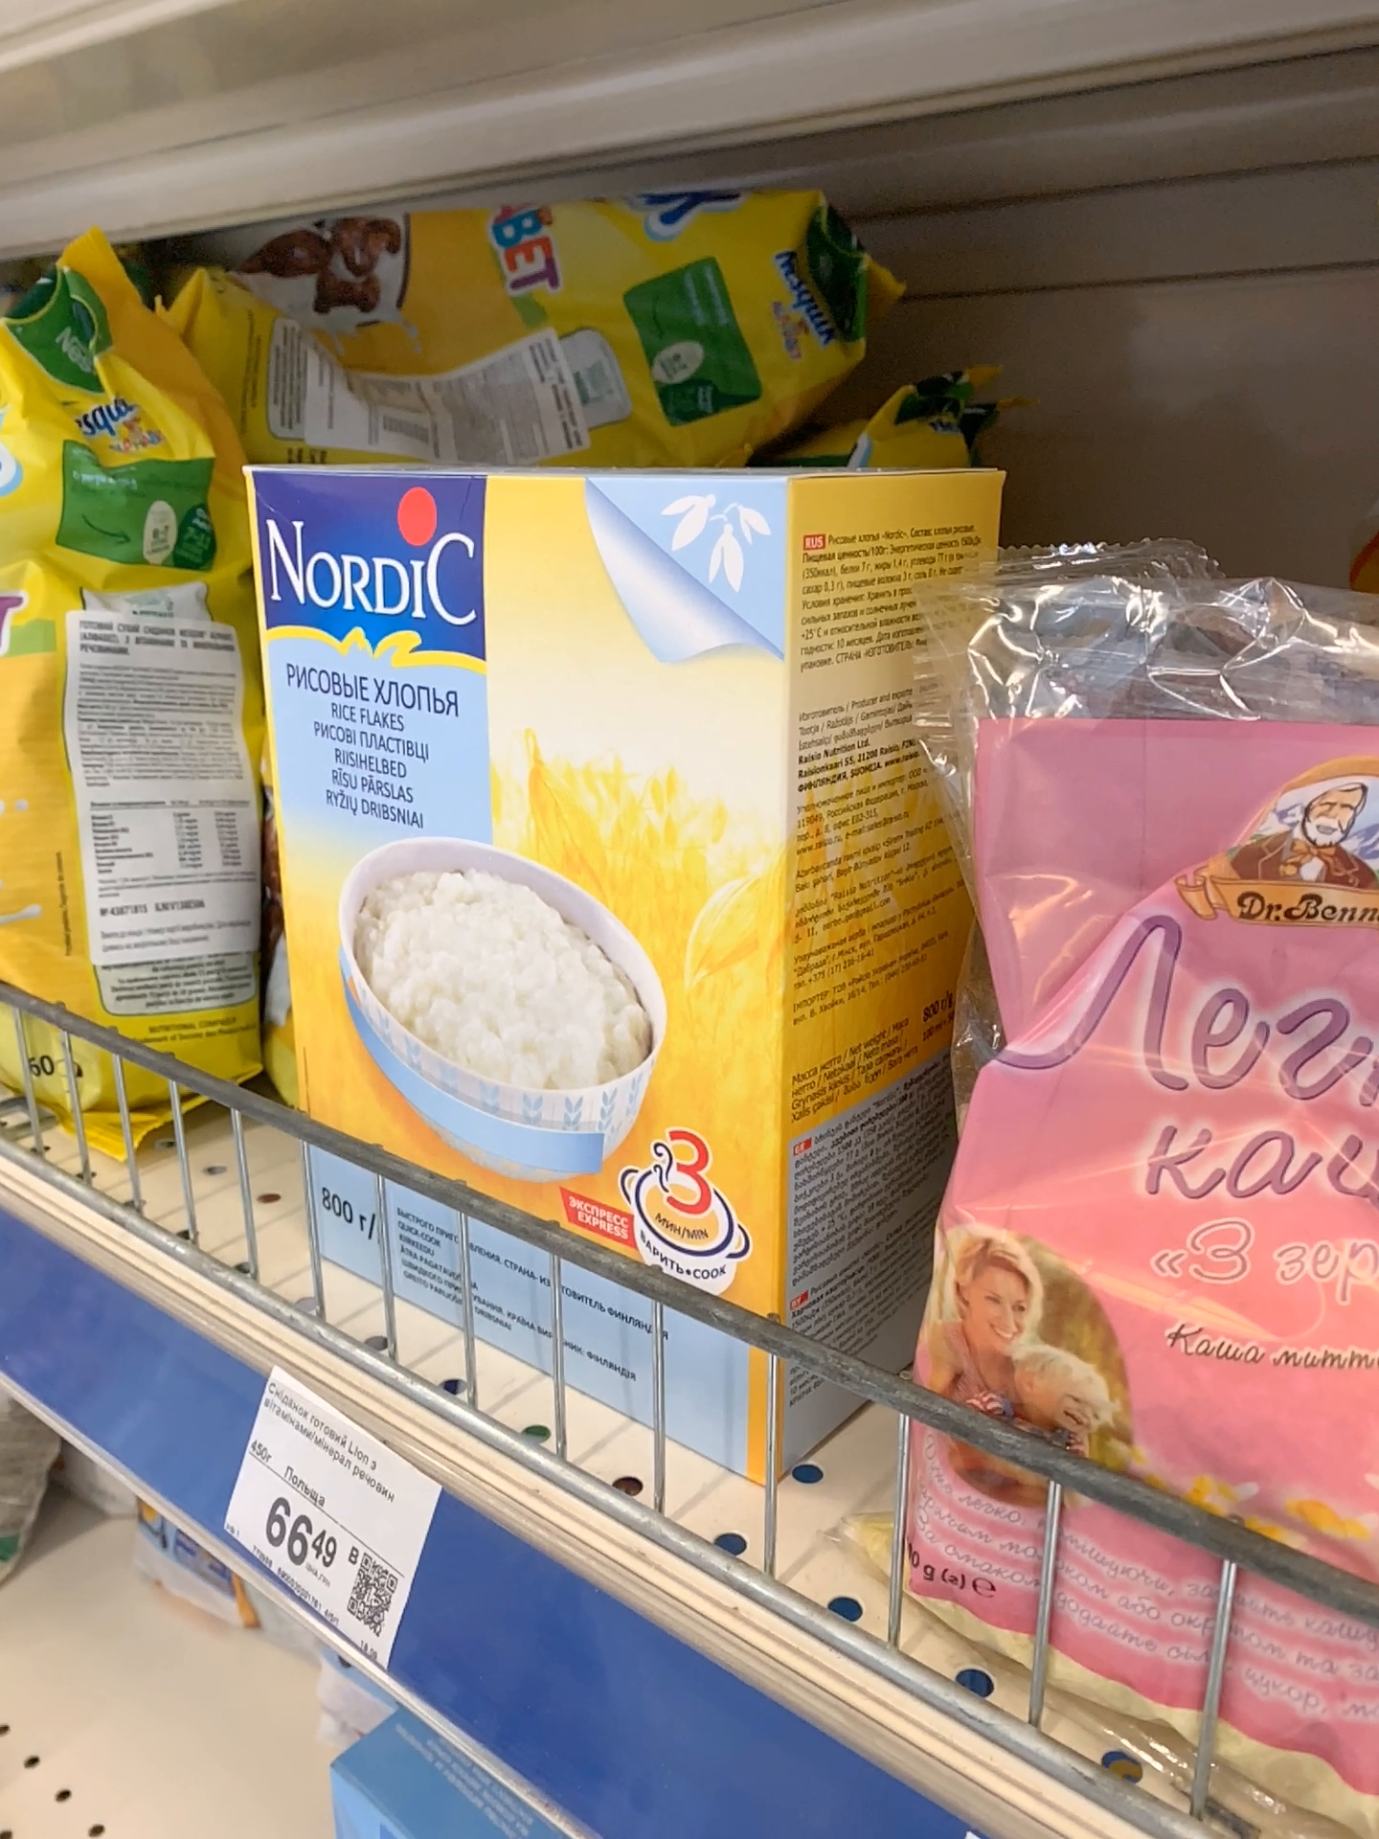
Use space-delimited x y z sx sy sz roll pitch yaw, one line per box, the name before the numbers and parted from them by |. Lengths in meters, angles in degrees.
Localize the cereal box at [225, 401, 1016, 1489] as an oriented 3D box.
cereal box | -0.020 -0.008 0.327 0.150 0.199 0.080 13 20 37
